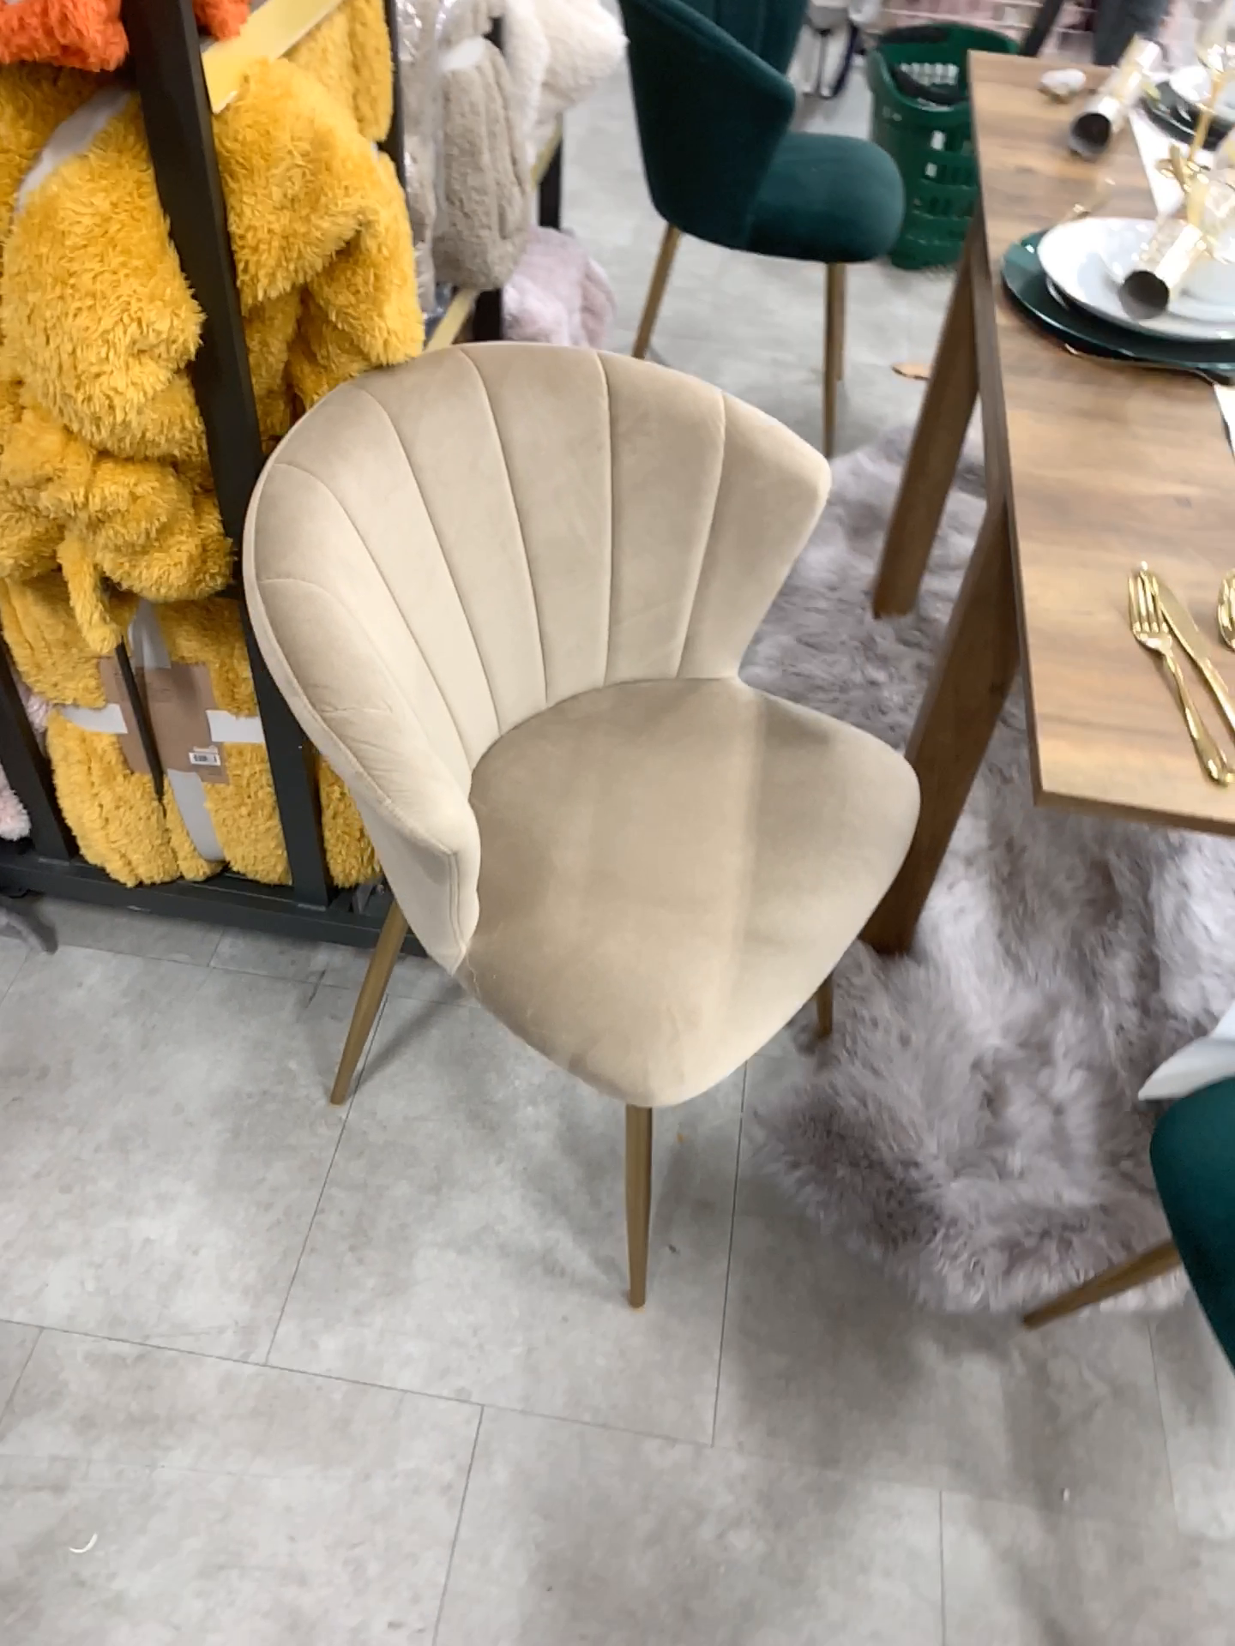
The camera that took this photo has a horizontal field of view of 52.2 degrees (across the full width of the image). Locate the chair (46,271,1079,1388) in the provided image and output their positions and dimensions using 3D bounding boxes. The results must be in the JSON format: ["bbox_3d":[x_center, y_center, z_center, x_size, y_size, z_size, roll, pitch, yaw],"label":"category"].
[{"bbox_3d":[-0.035,0.008,1.197,0.536,0.722,0.564,29,51,21],"label":"chair"}]
